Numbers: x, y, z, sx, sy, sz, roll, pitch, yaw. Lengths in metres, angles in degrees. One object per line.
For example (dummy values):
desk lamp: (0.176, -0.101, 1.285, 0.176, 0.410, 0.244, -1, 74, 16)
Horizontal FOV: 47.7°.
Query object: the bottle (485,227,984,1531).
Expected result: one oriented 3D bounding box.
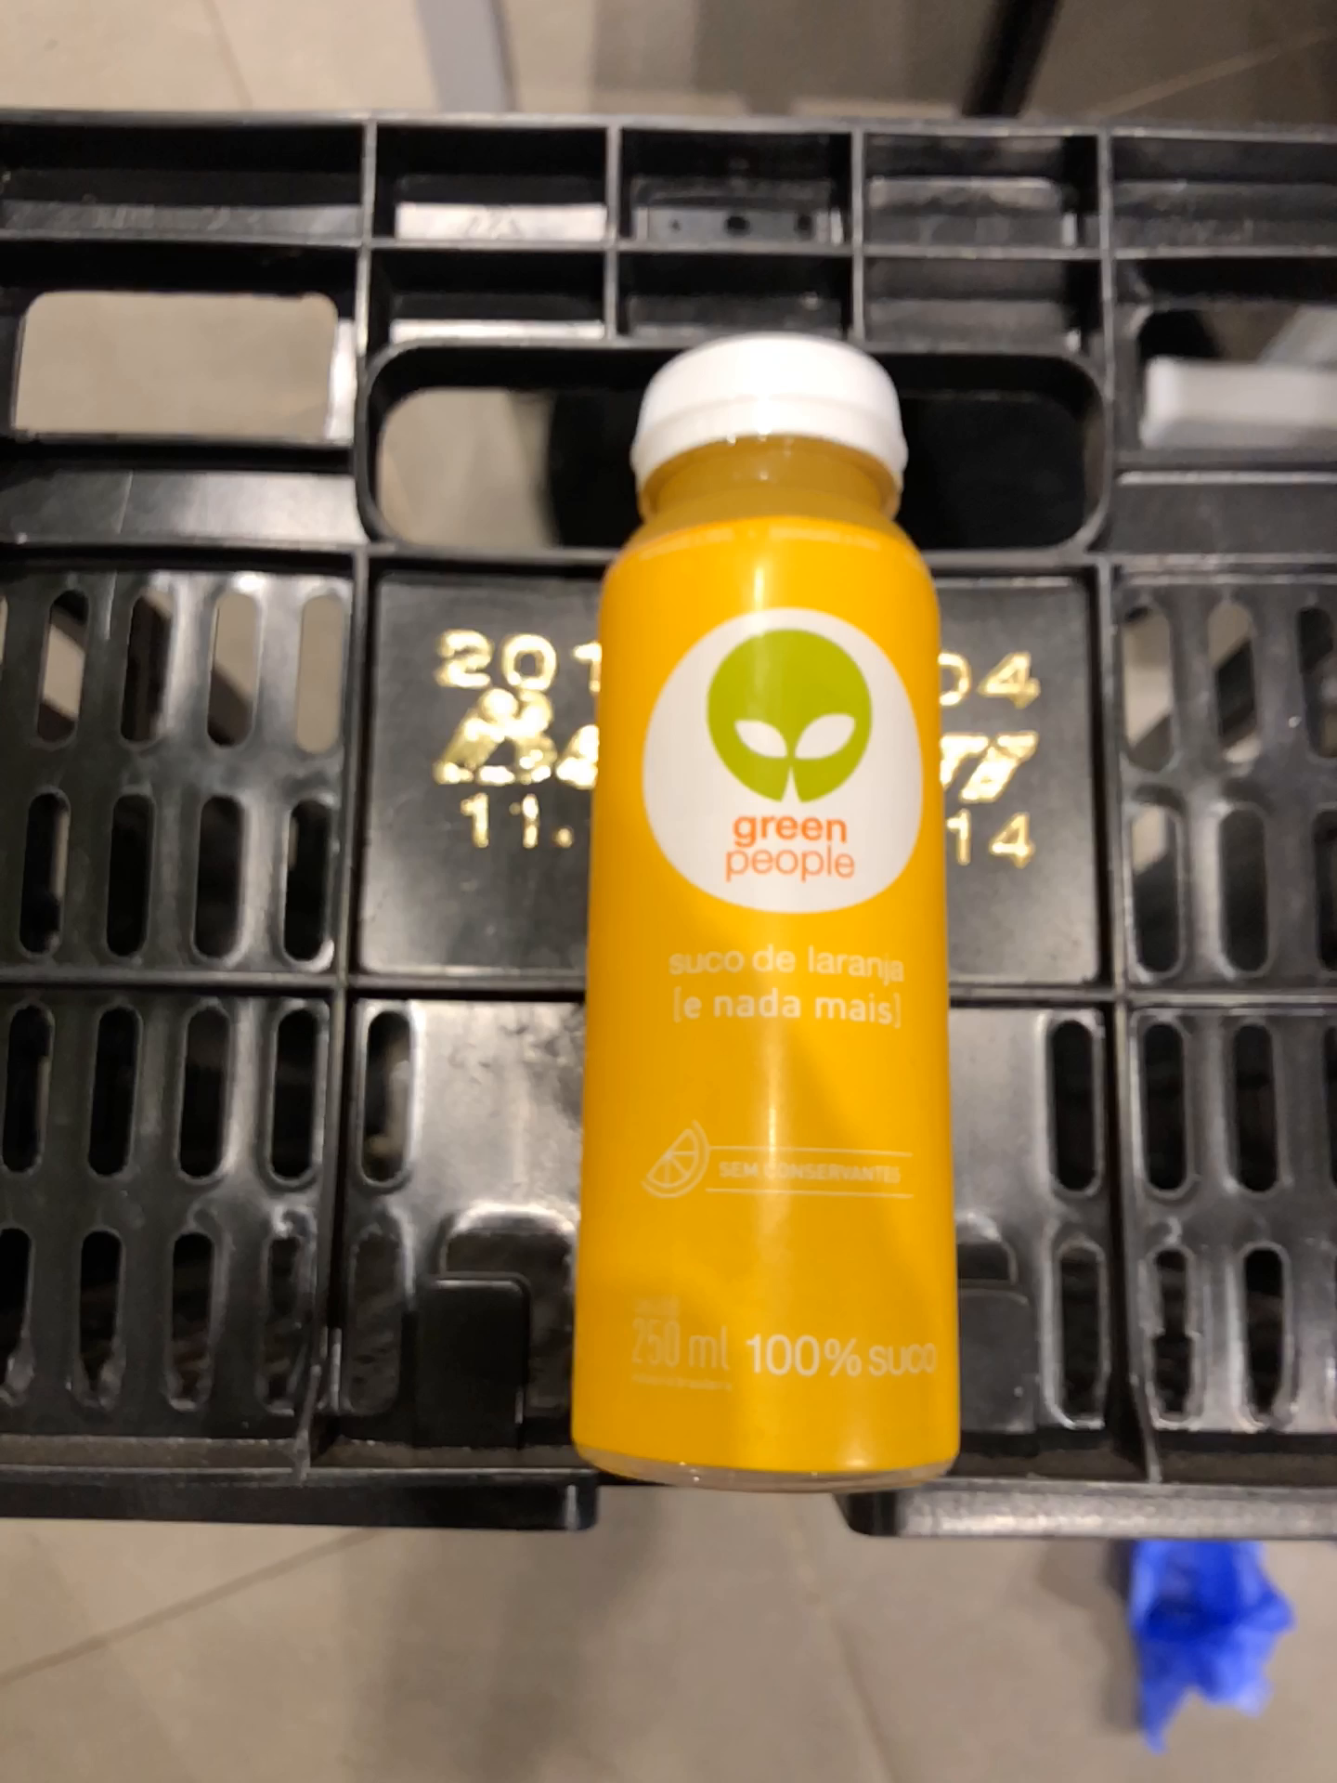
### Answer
bottle: (0.008, -0.005, 0.227, 0.060, 0.050, 0.180, 0, 76, 1)
